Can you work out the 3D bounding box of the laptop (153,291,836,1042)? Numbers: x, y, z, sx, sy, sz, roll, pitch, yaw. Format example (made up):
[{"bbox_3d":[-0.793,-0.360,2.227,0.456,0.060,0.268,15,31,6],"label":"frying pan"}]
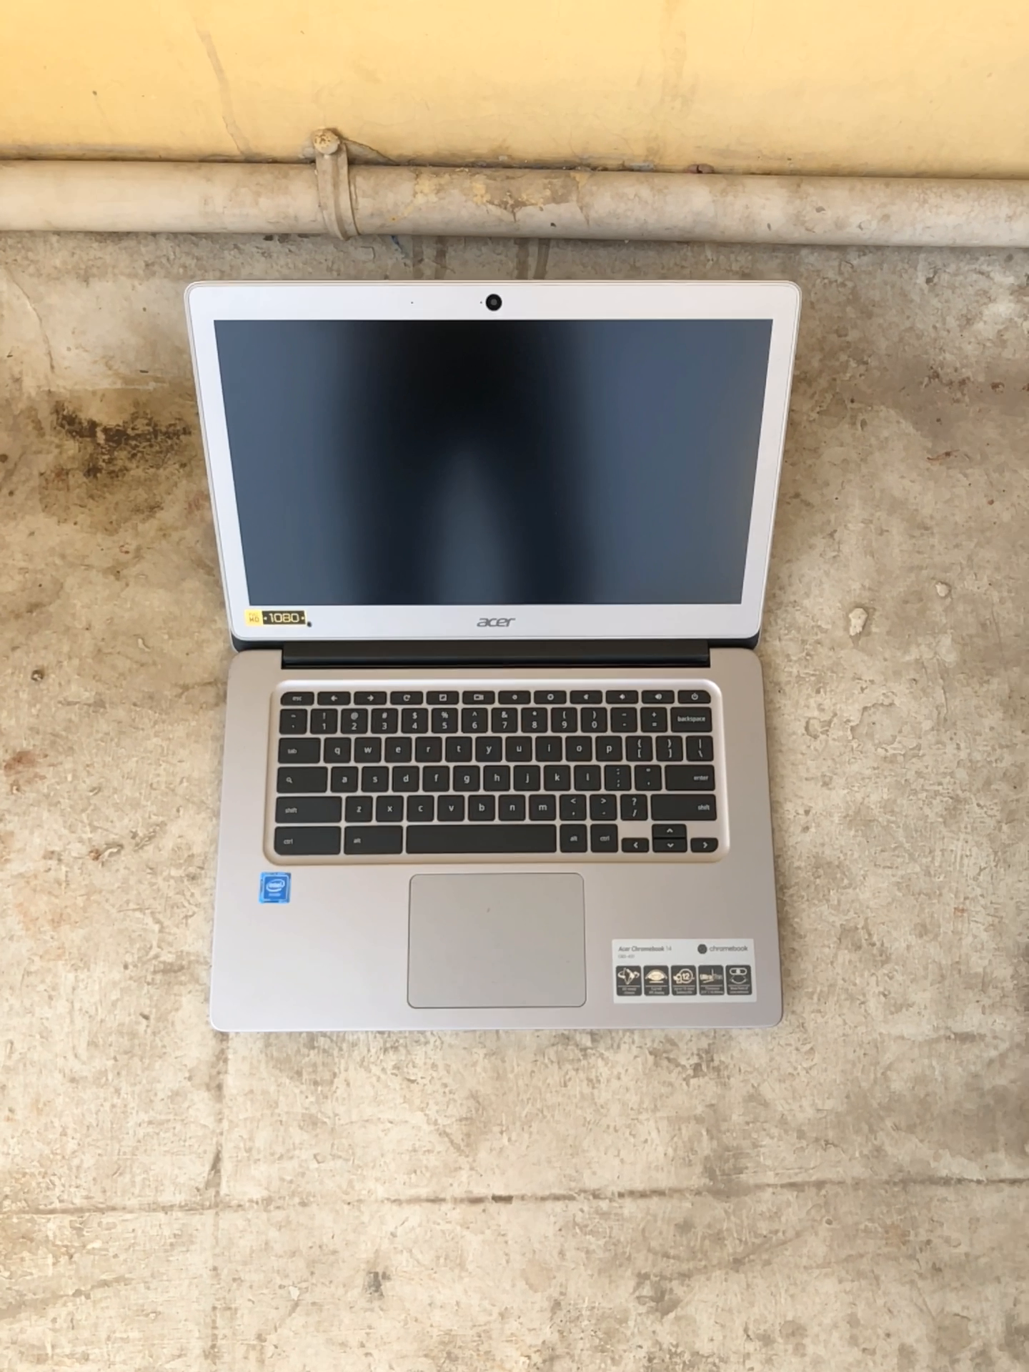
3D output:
[{"bbox_3d":[-0.014,-0.008,0.630,0.315,0.137,0.379,-1,78,-1],"label":"laptop"}]
